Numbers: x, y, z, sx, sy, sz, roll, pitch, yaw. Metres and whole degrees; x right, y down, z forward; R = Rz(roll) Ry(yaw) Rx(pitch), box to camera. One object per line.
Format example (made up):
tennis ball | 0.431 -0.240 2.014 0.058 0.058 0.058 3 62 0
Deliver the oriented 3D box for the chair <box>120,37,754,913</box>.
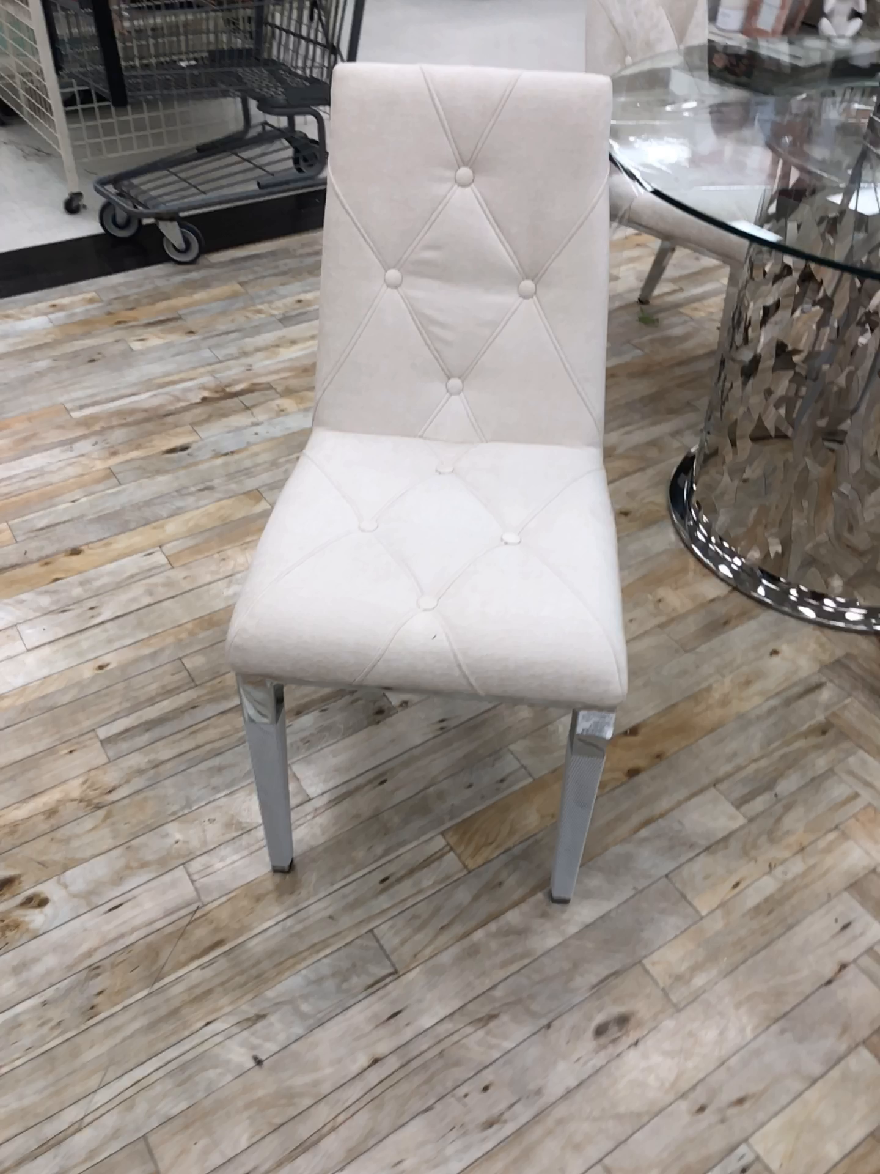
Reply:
chair | 0.021 -0.112 1.218 0.470 0.886 0.572 6 42 5
